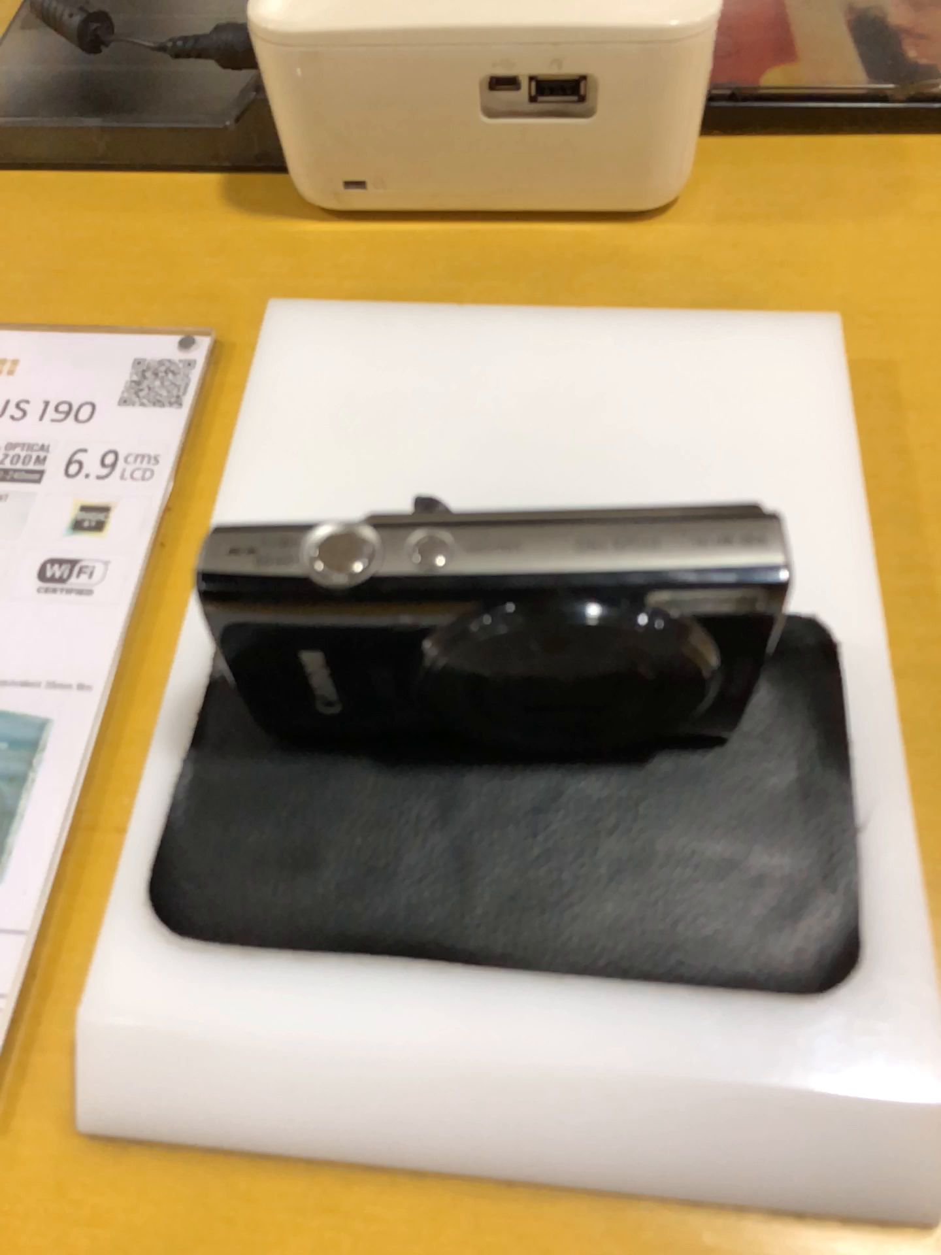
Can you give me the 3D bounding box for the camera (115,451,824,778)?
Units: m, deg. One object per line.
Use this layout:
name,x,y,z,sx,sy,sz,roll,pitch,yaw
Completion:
camera,0.000,0.000,0.175,0.100,0.050,0.030,-2,59,2
